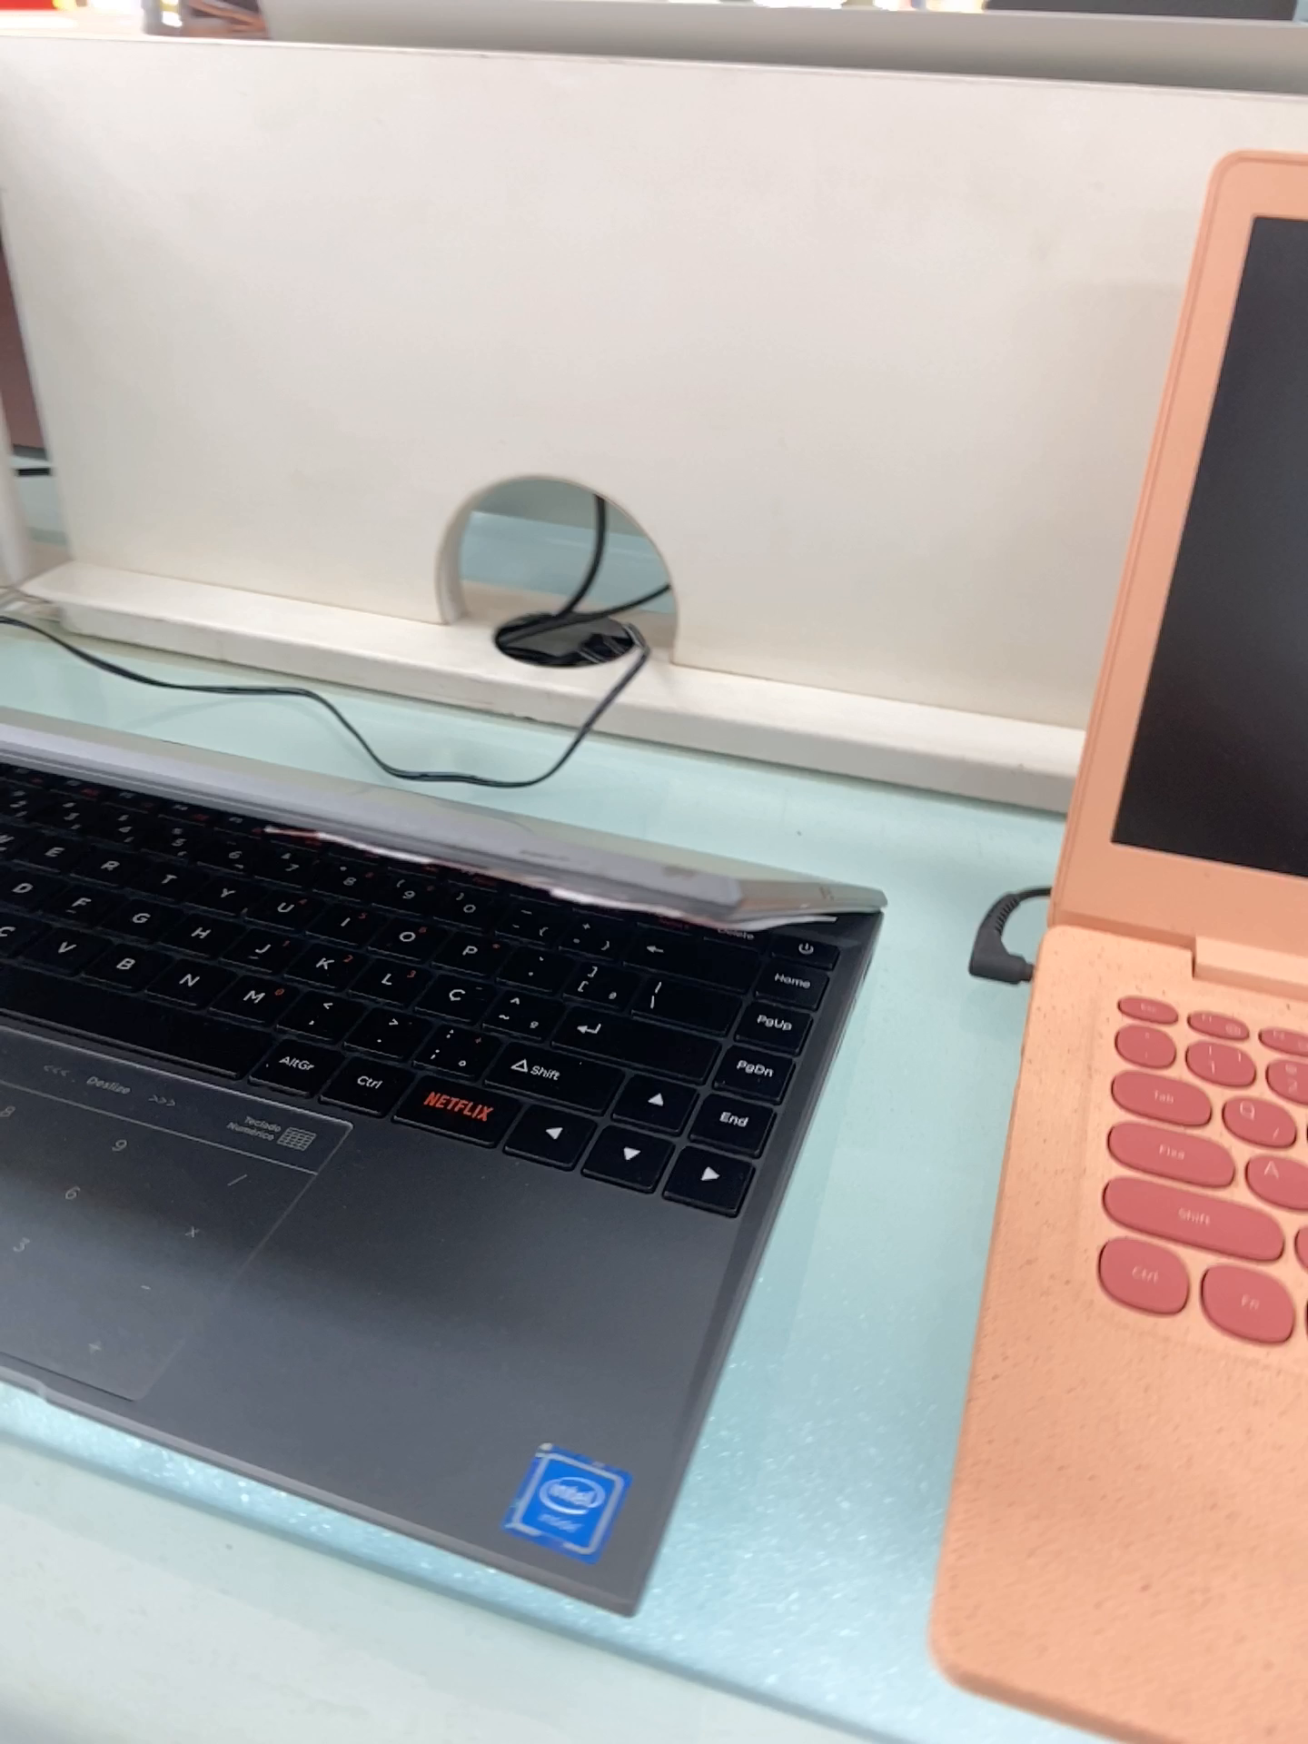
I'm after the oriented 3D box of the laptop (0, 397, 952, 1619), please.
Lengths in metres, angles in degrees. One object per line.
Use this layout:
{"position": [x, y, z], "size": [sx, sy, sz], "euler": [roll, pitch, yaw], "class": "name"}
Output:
{"position": [-0.121, -0.013, 0.322], "size": [0.333, 0.113, 0.212], "euler": [12, 35, 16], "class": "laptop"}
